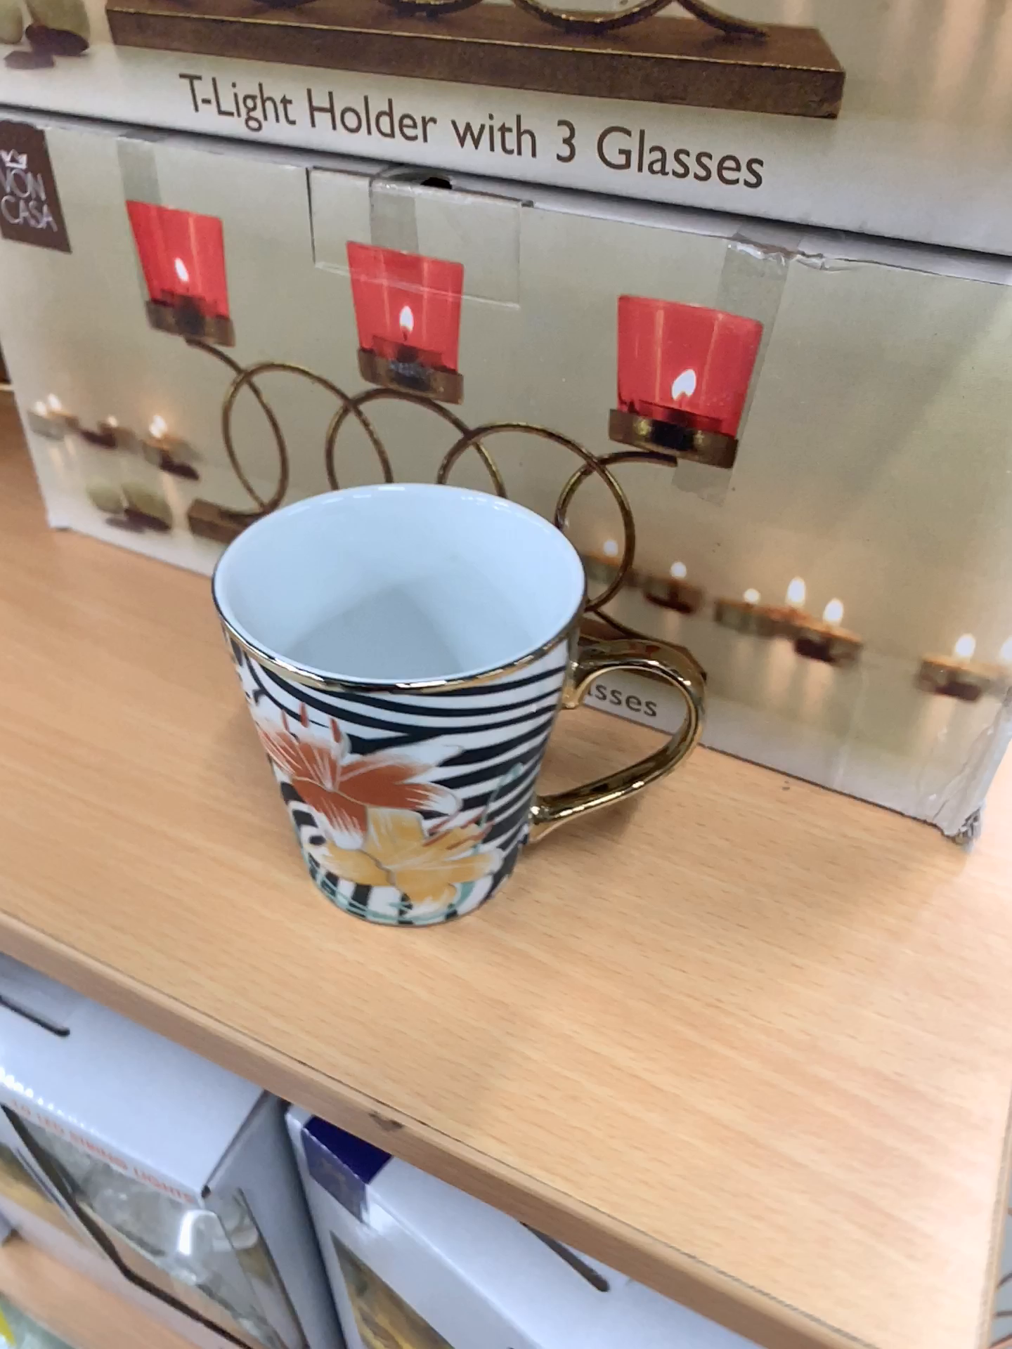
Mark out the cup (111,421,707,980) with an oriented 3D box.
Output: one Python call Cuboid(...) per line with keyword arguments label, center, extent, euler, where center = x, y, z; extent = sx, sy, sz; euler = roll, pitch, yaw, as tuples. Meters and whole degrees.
Cuboid(label="cup", center=(-0.015, 0.003, 0.230), extent=(0.100, 0.080, 0.070), euler=(10, 39, 8))
